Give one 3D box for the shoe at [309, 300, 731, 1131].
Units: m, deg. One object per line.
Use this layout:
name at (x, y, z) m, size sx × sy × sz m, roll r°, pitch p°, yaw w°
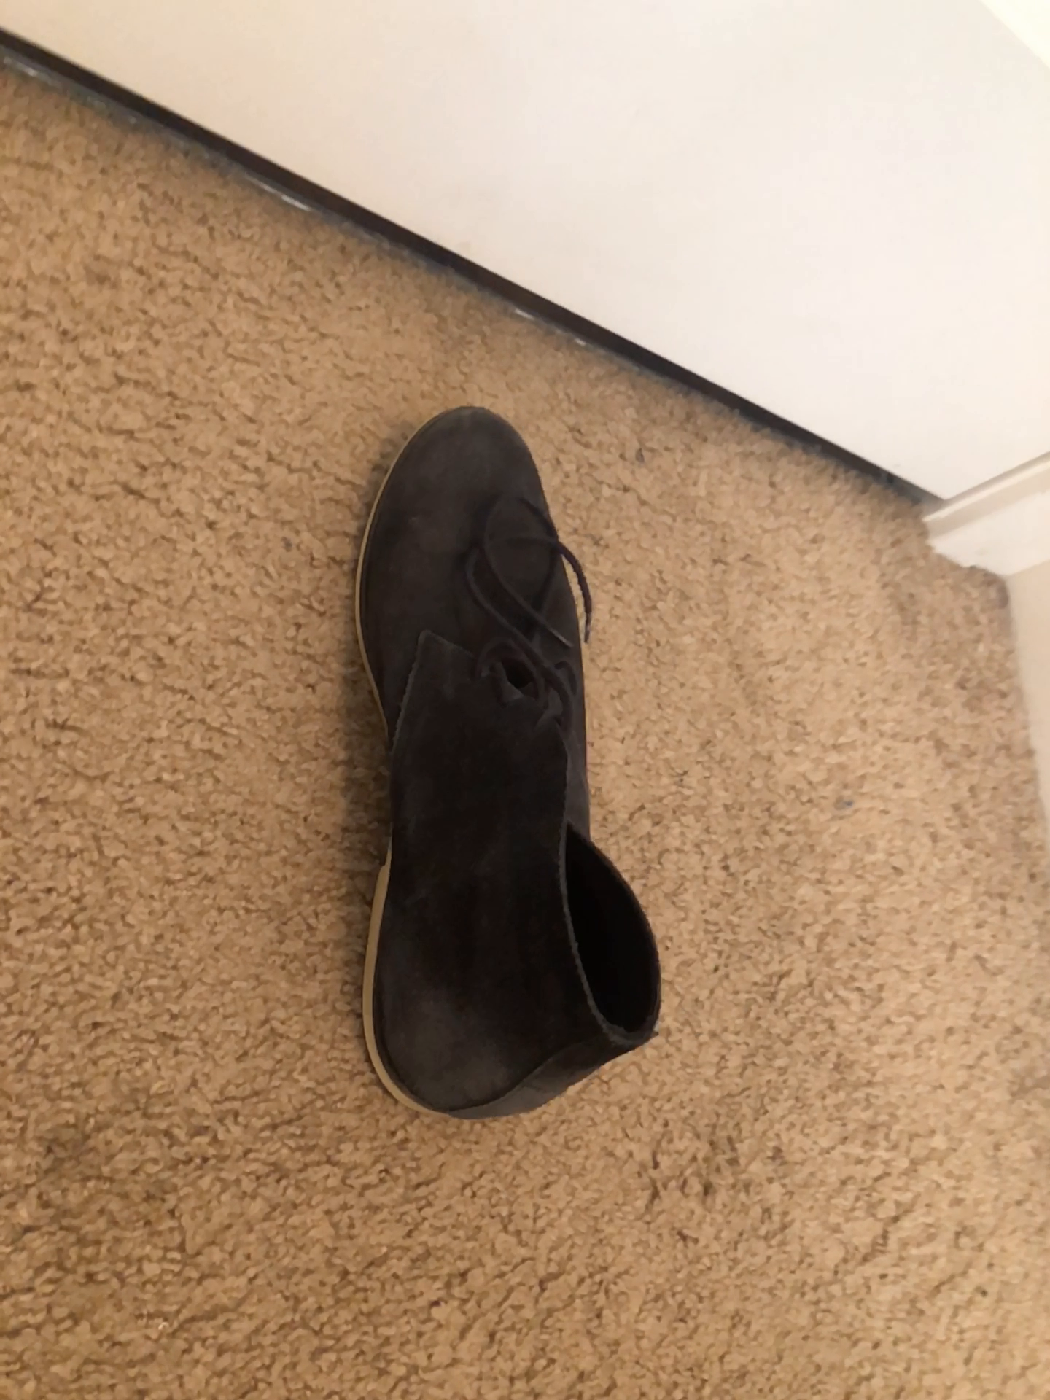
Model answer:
shoe at (-0.001, 0.011, 0.432) m, size 0.103 × 0.094 × 0.279 m, roll 16°, pitch 64°, yaw -35°
